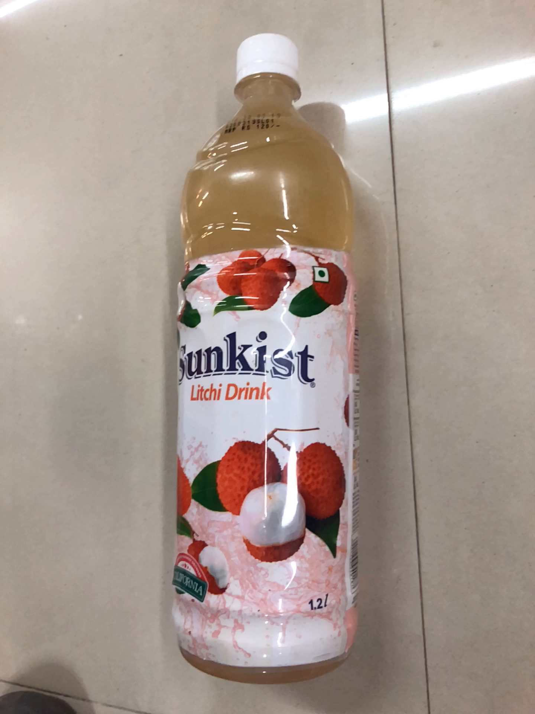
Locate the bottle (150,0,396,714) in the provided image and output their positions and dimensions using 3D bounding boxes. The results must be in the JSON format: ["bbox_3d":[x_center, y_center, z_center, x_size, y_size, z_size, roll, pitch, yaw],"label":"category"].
[{"bbox_3d":[0.005,-0.012,0.287,0.090,0.080,0.300,-2,87,26],"label":"bottle"}]
